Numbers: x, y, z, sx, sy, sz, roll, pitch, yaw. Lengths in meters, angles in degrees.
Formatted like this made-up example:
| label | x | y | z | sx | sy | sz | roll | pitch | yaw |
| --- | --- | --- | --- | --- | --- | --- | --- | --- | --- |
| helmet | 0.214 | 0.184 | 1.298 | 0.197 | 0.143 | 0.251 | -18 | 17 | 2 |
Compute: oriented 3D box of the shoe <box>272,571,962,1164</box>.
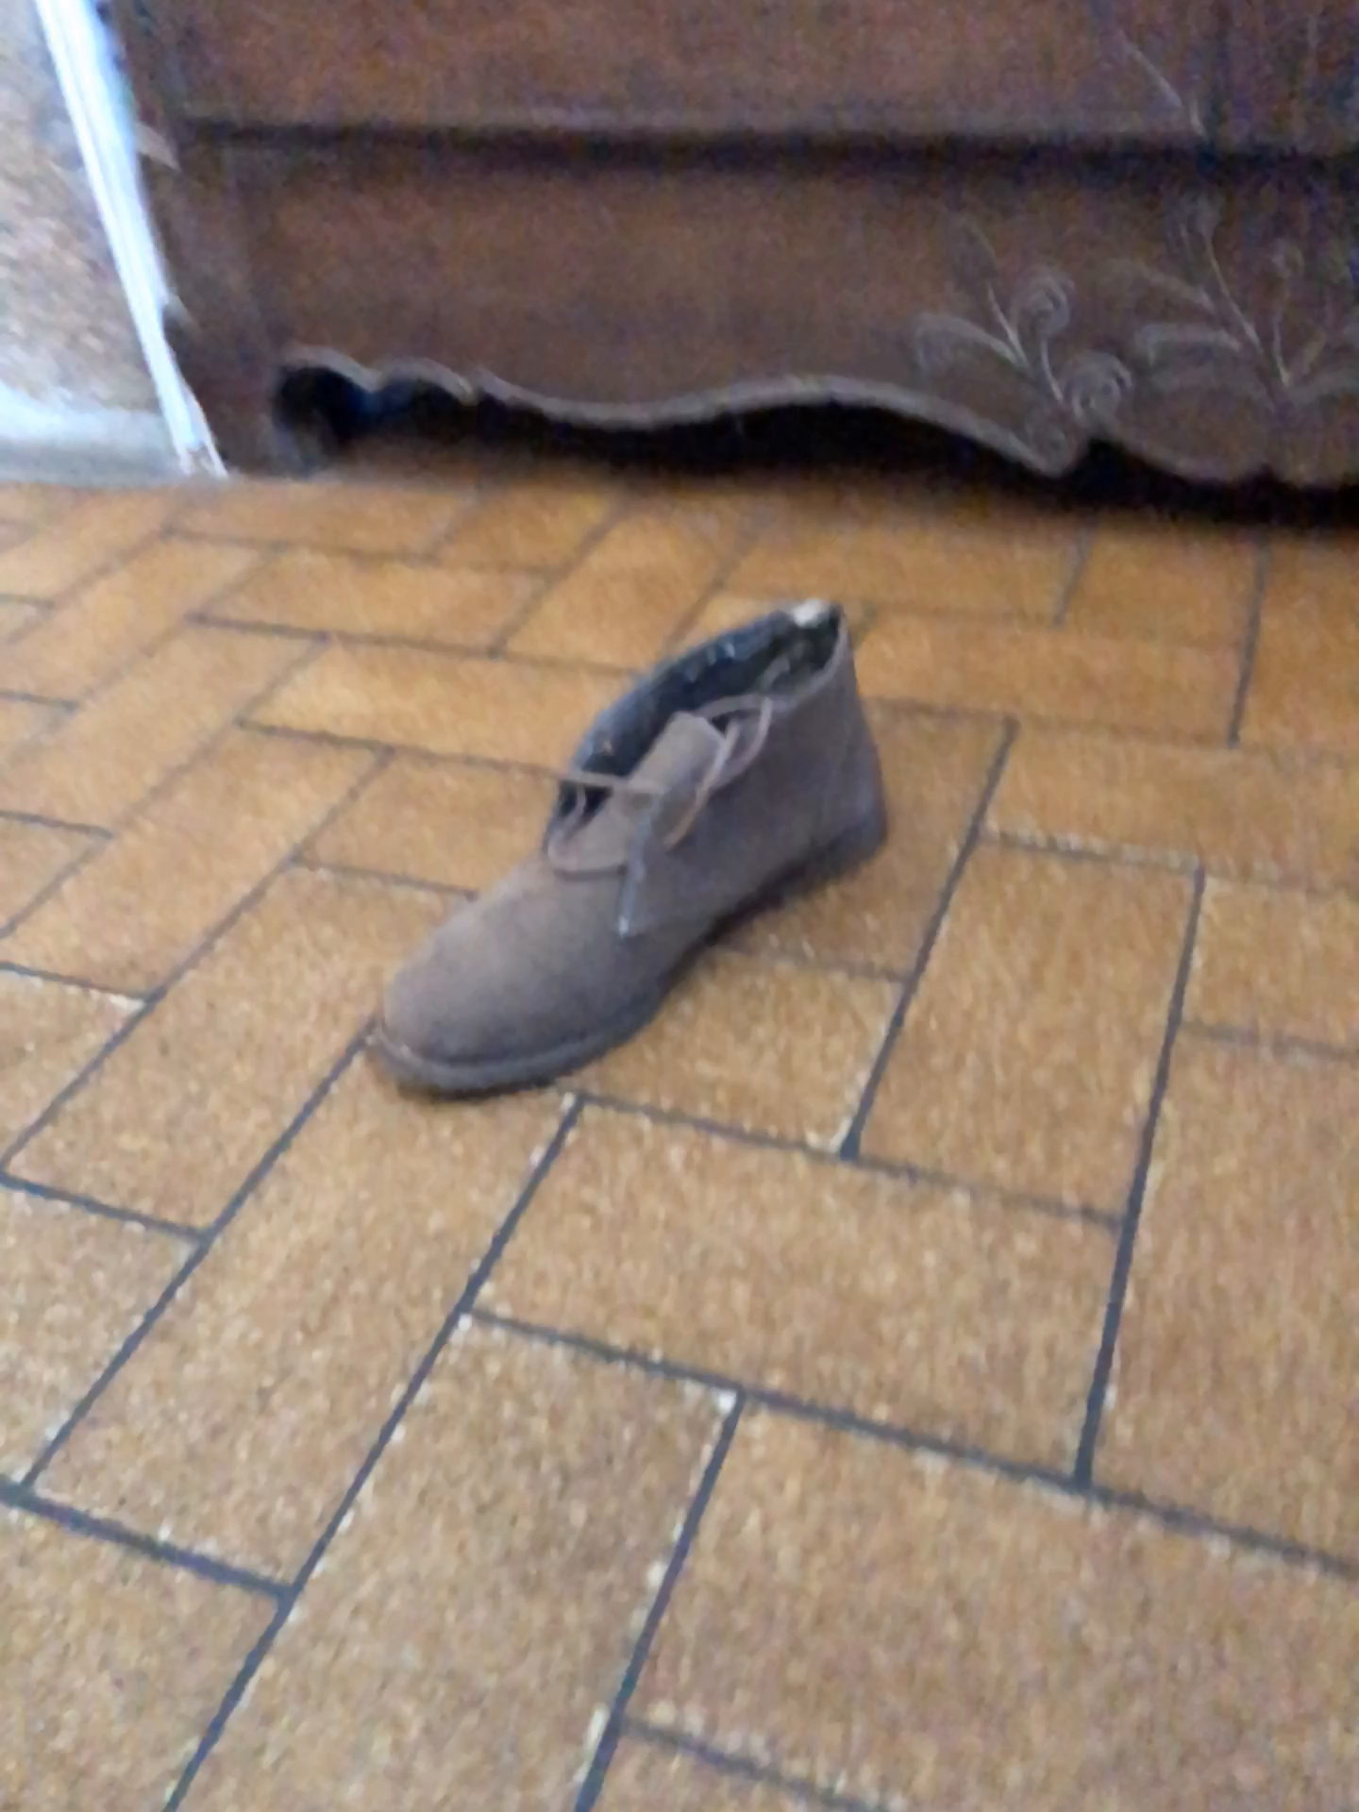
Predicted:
| label | x | y | z | sx | sy | sz | roll | pitch | yaw |
| --- | --- | --- | --- | --- | --- | --- | --- | --- | --- |
| shoe | -0.012 | -0.027 | 0.585 | 0.251 | 0.099 | 0.100 | -31 | 45 | -28 |
